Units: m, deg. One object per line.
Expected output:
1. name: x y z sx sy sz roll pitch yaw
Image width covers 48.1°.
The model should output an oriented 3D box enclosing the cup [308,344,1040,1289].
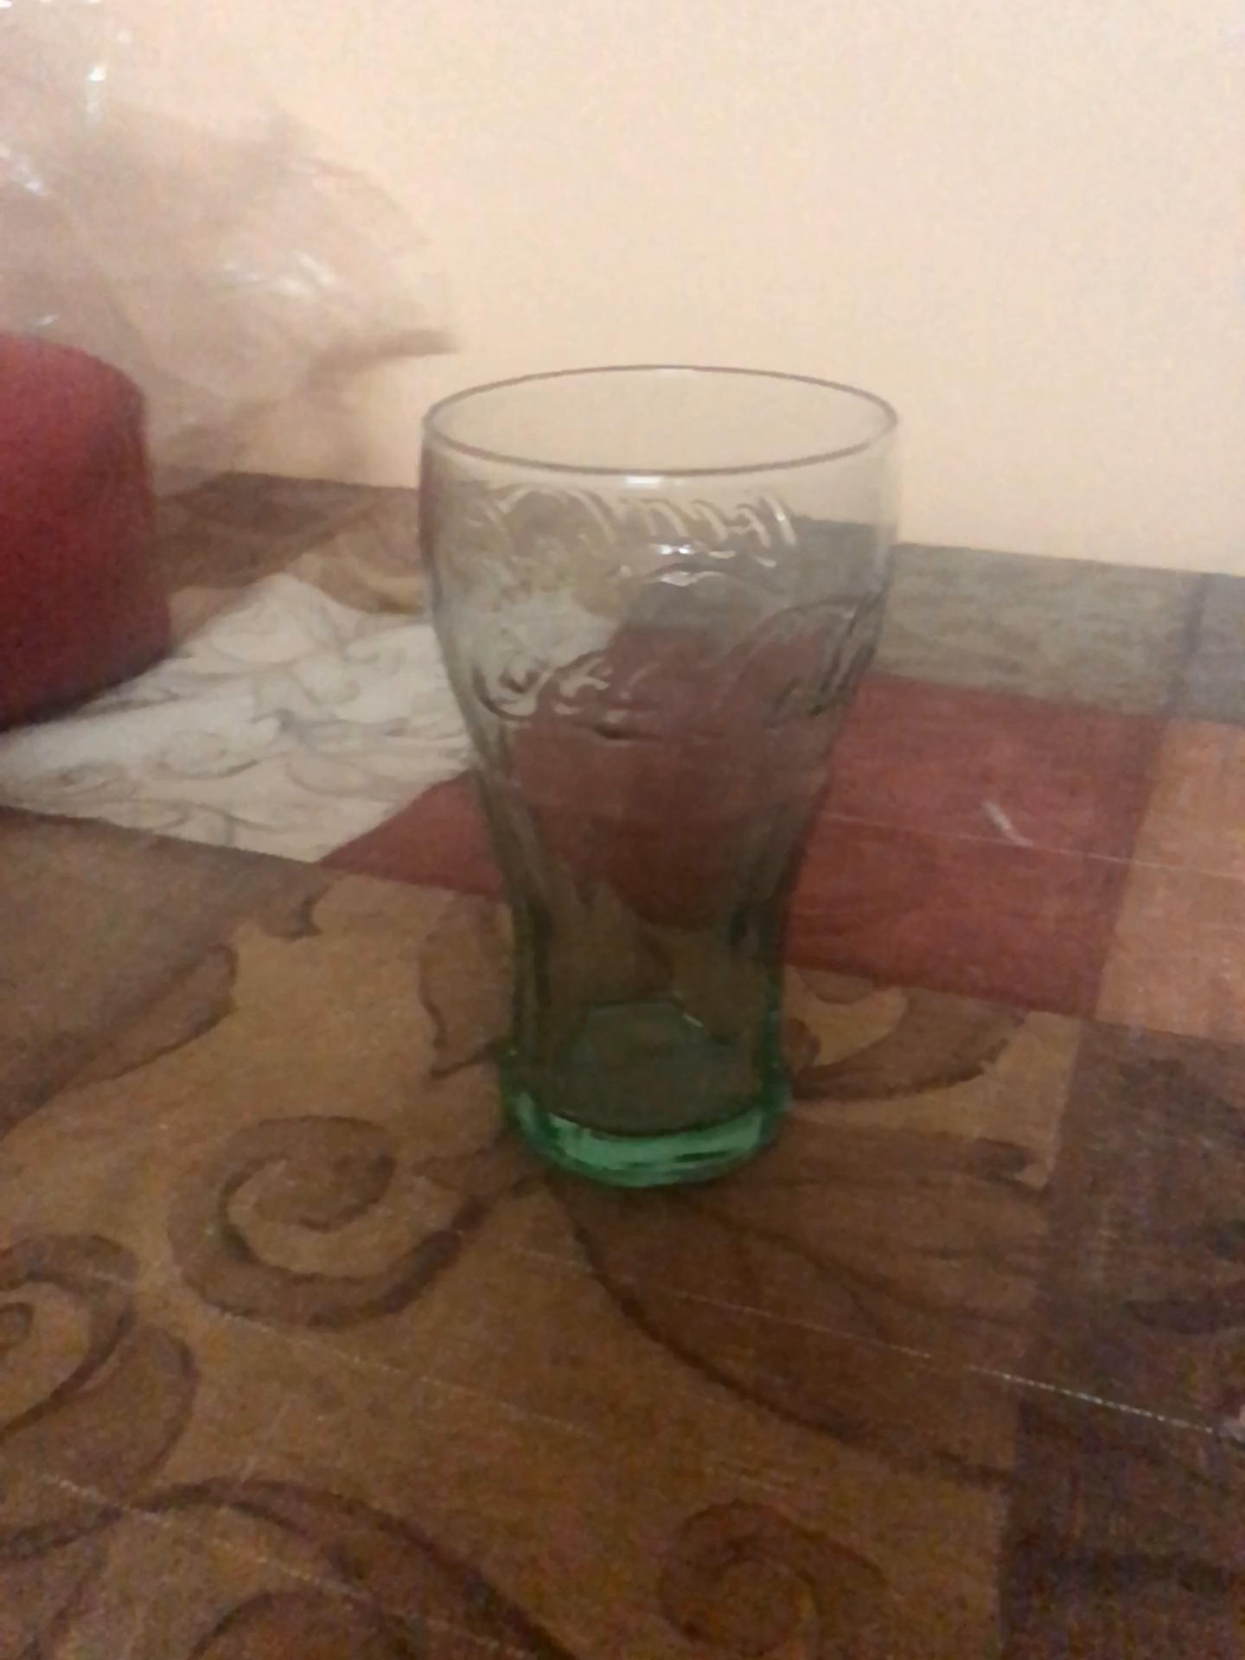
1. cup: 0.003 -0.008 0.208 0.070 0.110 0.070 1 28 0
